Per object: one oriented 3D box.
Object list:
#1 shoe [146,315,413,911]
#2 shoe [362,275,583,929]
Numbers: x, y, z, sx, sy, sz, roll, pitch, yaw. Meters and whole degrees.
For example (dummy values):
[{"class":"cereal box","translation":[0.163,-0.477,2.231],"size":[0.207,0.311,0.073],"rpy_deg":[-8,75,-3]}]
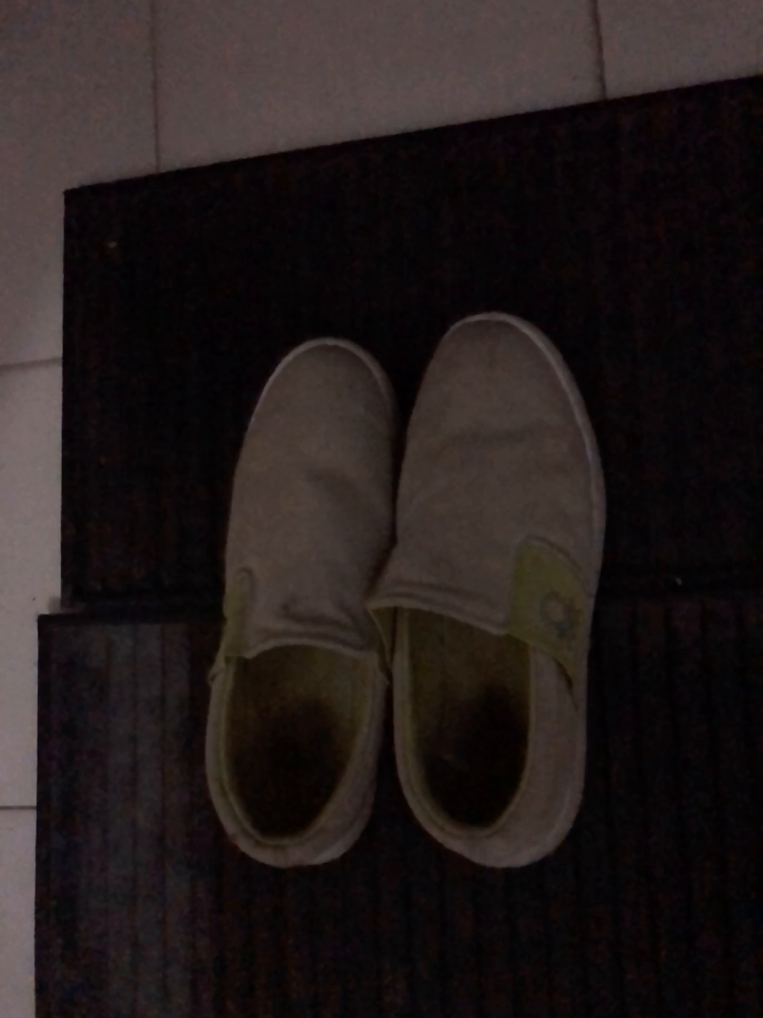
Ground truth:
[{"class":"shoe","translation":[-0.051,0.053,0.485],"size":[0.120,0.090,0.300],"rpy_deg":[-1,82,13]},{"class":"shoe","translation":[0.056,0.046,0.485],"size":[0.110,0.090,0.330],"rpy_deg":[-1,82,13]}]
